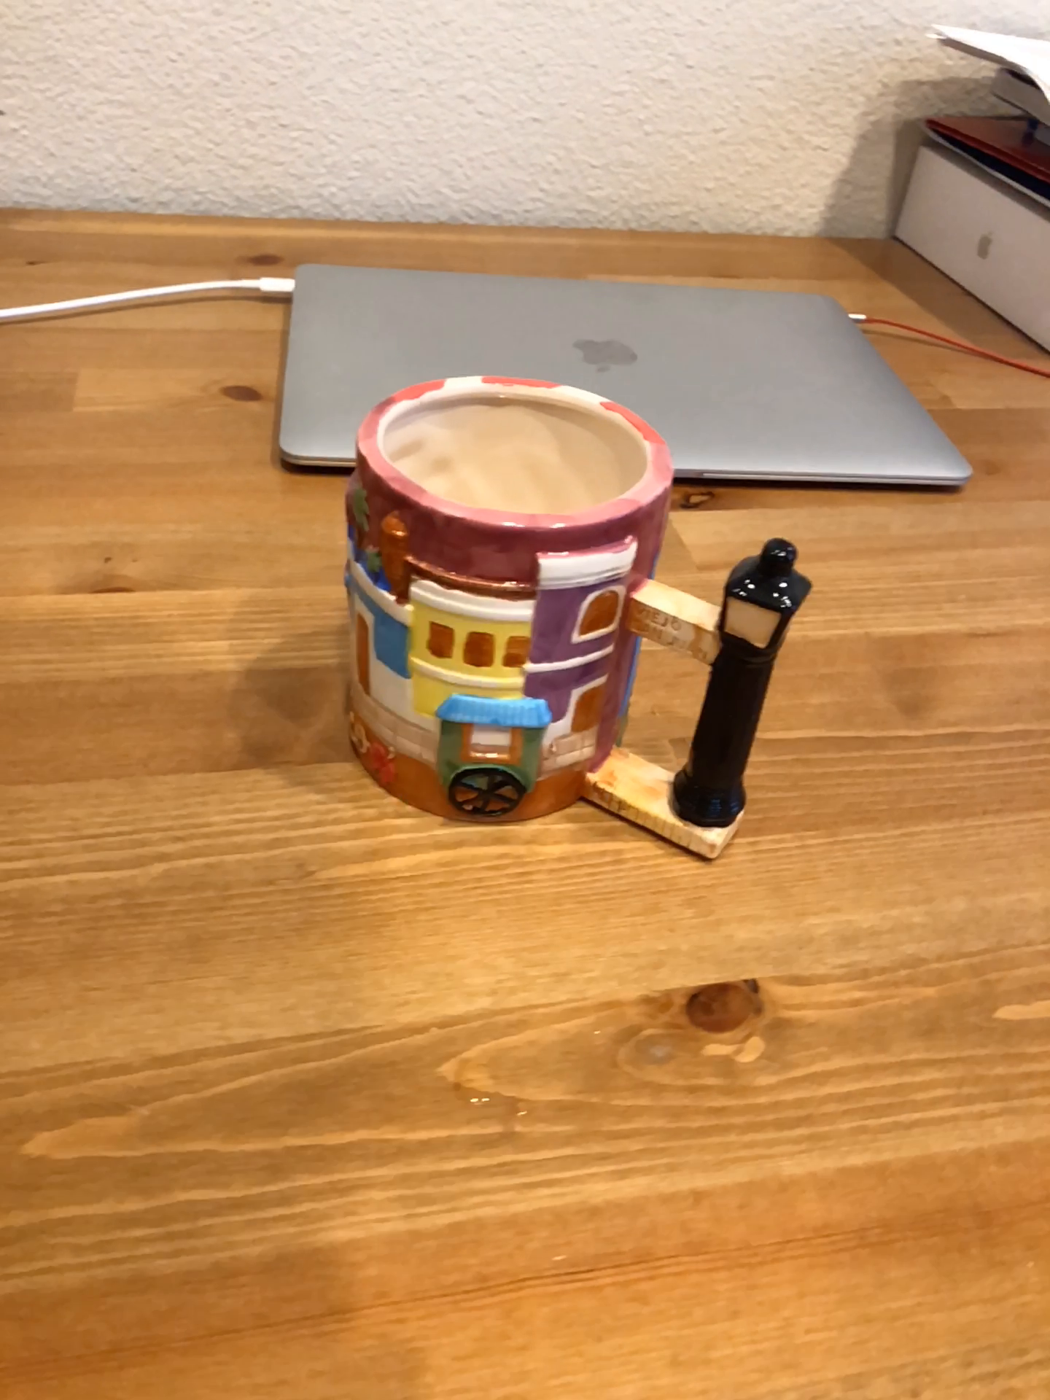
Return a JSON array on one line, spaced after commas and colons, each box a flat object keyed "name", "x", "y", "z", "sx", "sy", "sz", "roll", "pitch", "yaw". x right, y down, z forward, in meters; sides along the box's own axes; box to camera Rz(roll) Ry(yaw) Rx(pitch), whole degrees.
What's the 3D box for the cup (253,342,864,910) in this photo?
[{"name": "cup", "x": 0.010, "y": -0.025, "z": 0.317, "sx": 0.130, "sy": 0.090, "sz": 0.090, "roll": 16, "pitch": 39, "yaw": 13}]
